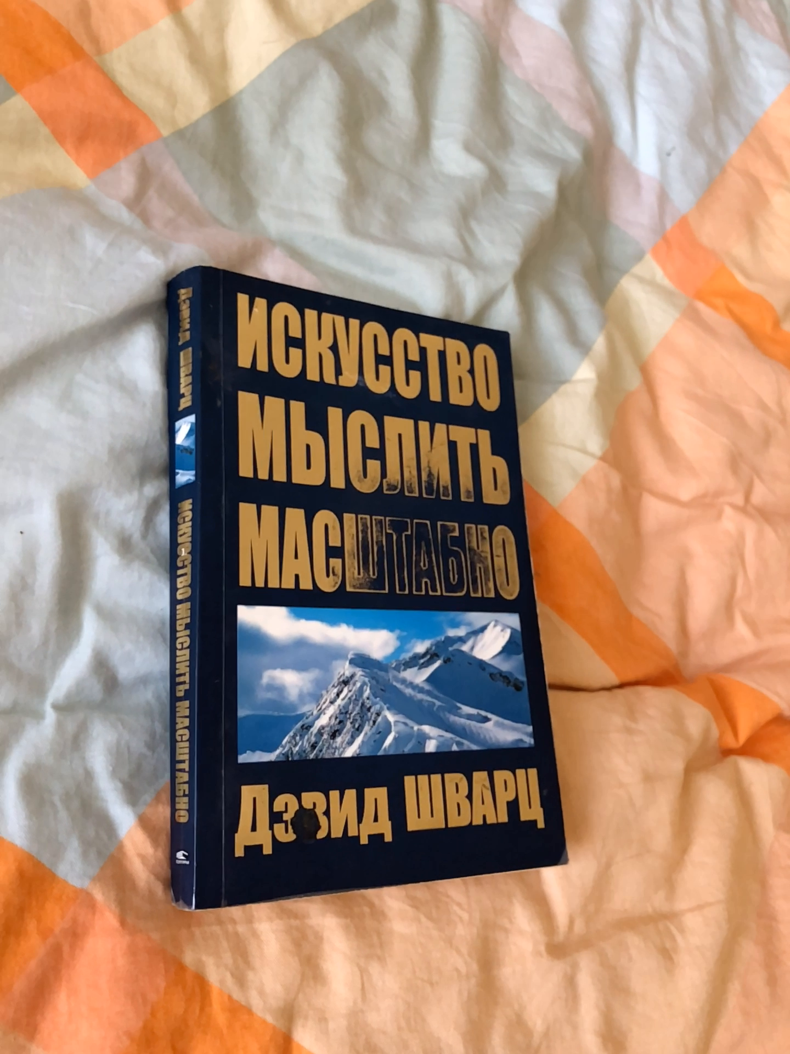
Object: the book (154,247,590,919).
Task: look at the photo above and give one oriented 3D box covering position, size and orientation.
[{"bbox_3d":[-0.008,0.014,0.282,0.127,0.028,0.189,6,71,-28],"label":"book"}]
